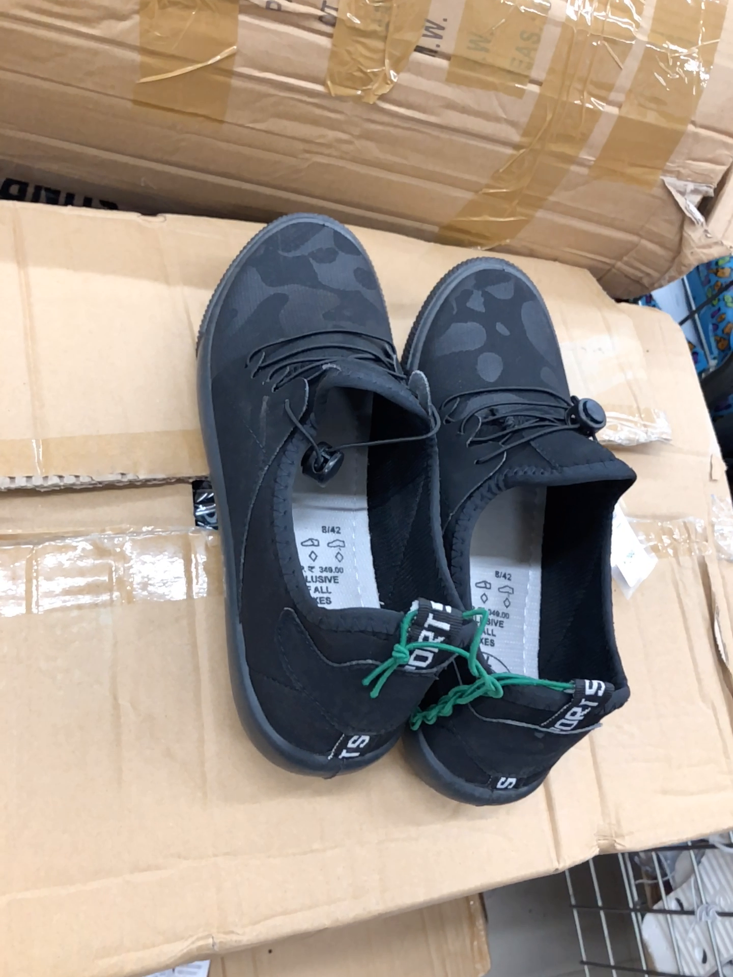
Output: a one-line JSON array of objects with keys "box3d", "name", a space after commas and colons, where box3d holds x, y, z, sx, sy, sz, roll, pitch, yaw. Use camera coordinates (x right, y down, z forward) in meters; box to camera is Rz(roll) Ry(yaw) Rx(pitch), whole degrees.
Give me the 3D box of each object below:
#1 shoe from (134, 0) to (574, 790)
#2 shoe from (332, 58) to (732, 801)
[{"box3d": [-0.022, -0.040, 0.358, 0.120, 0.129, 0.311, 7, 63, -21], "name": "shoe"}, {"box3d": [0.064, -0.026, 0.393, 0.120, 0.129, 0.321, 8, 63, -21], "name": "shoe"}]
